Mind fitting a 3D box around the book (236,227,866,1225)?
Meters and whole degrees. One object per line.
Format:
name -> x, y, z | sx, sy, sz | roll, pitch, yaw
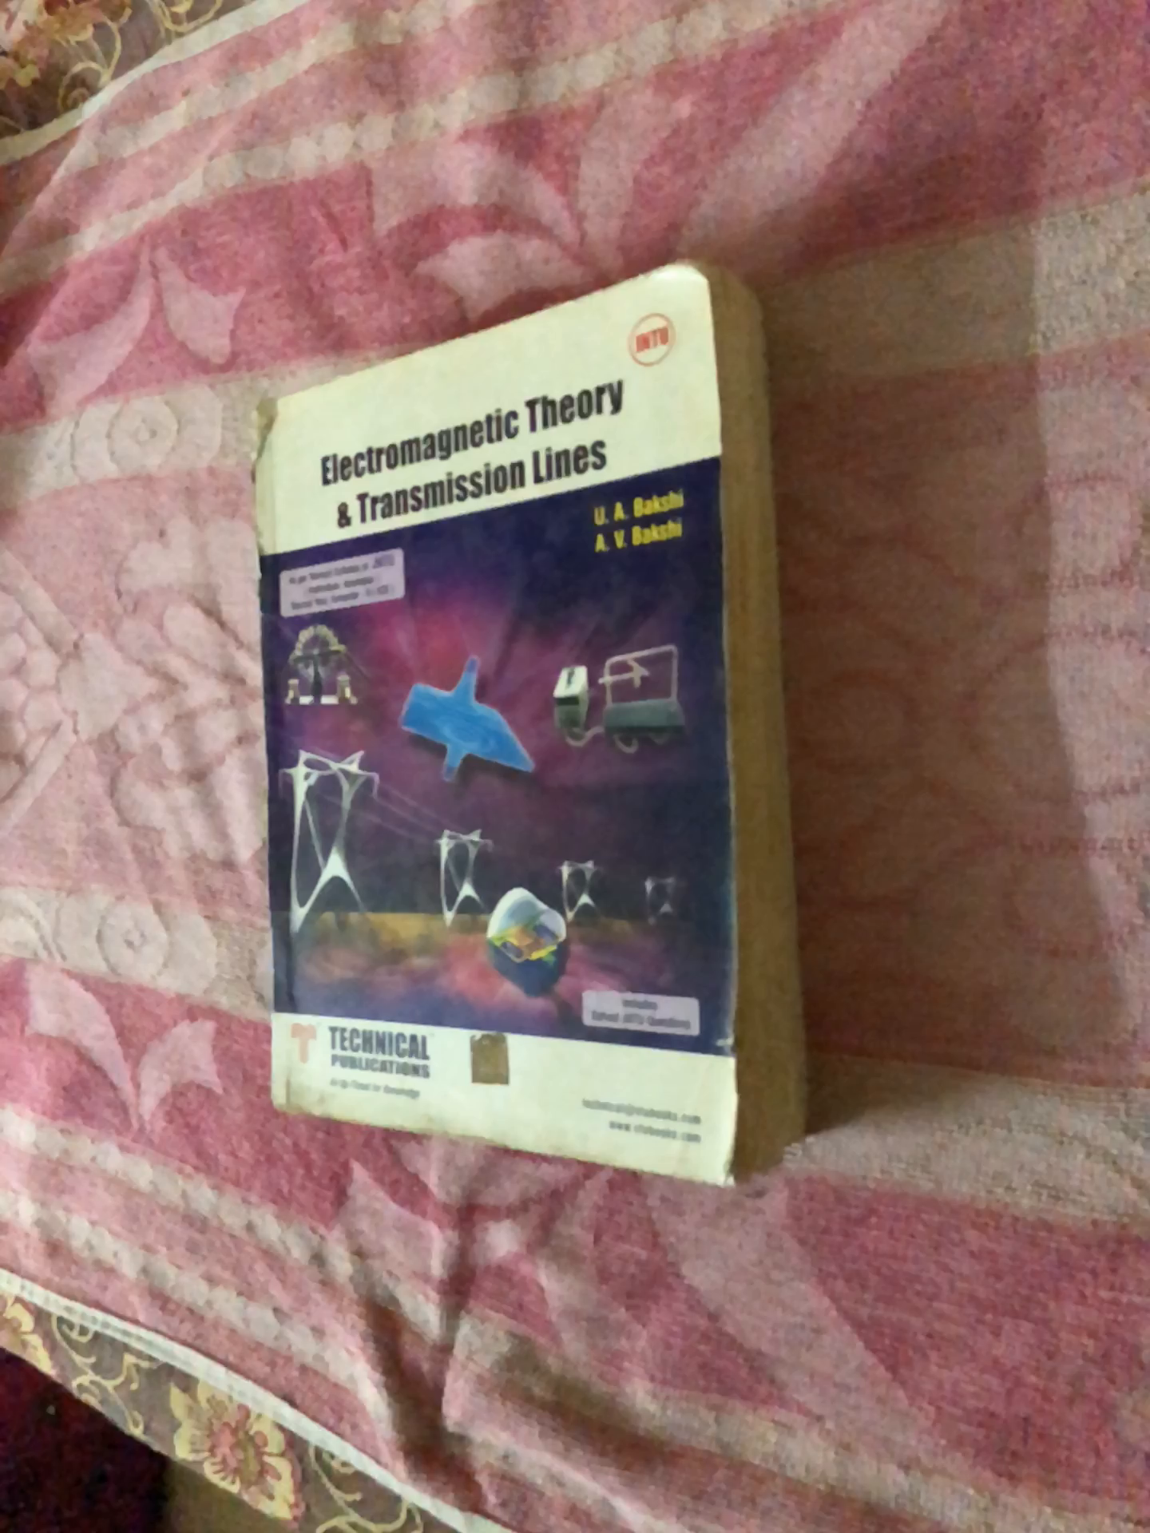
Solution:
book -> -0.018, -0.007, 0.402 | 0.201, 0.060, 0.250 | -3, 87, 37
